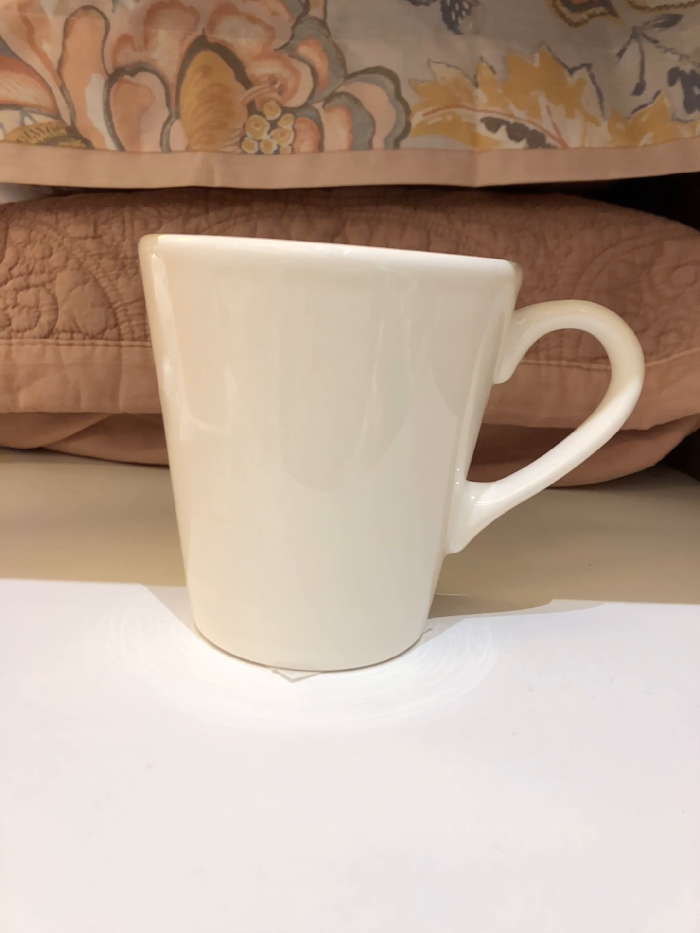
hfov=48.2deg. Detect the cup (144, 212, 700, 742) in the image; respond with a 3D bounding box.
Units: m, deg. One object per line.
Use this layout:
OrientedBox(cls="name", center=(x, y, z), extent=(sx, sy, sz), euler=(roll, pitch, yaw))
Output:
OrientedBox(cls="cup", center=(0.006, -0.004, 0.194), extent=(0.110, 0.100, 0.080), euler=(0, 14, -15))
